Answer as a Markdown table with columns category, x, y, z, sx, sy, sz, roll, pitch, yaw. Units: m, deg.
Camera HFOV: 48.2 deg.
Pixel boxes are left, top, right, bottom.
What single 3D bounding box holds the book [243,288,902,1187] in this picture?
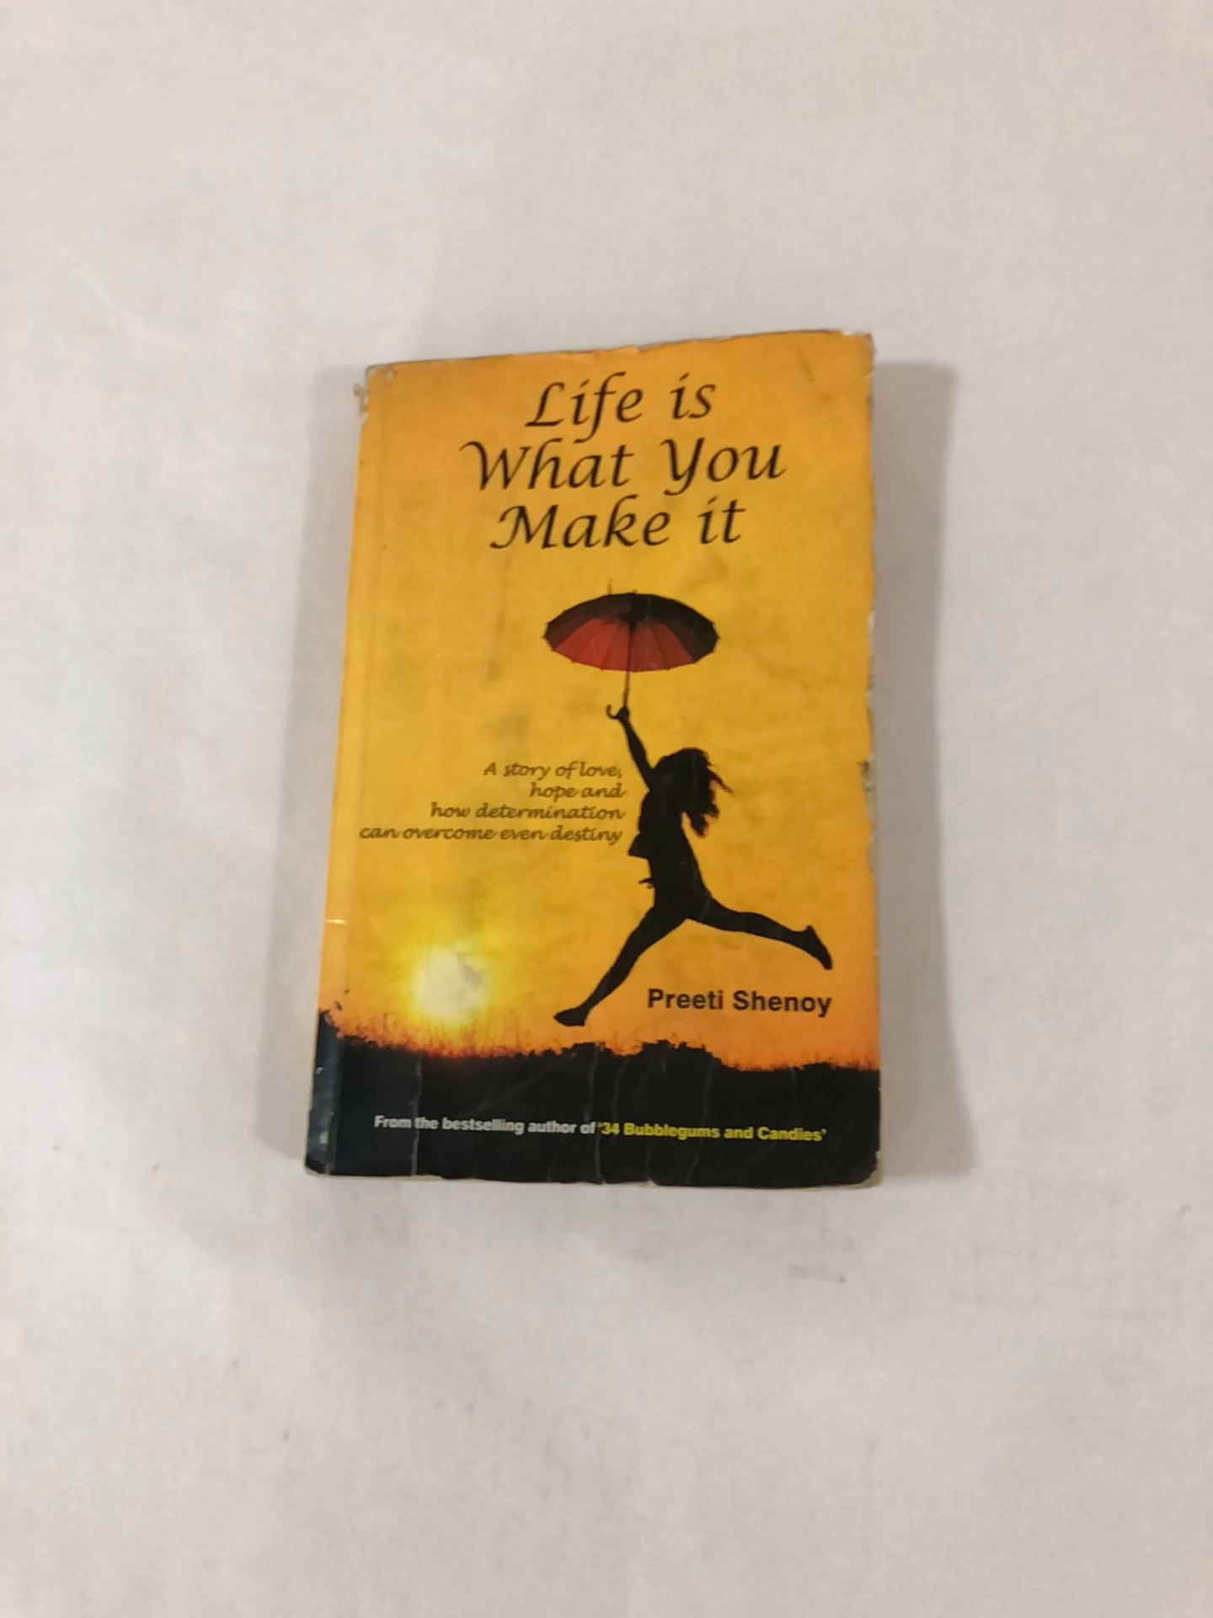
| category | x | y | z | sx | sy | sz | roll | pitch | yaw |
| --- | --- | --- | --- | --- | --- | --- | --- | --- | --- |
| book | -0.006 | -0.021 | 0.320 | 0.140 | 0.020 | 0.210 | -1 | 76 | 6 |
